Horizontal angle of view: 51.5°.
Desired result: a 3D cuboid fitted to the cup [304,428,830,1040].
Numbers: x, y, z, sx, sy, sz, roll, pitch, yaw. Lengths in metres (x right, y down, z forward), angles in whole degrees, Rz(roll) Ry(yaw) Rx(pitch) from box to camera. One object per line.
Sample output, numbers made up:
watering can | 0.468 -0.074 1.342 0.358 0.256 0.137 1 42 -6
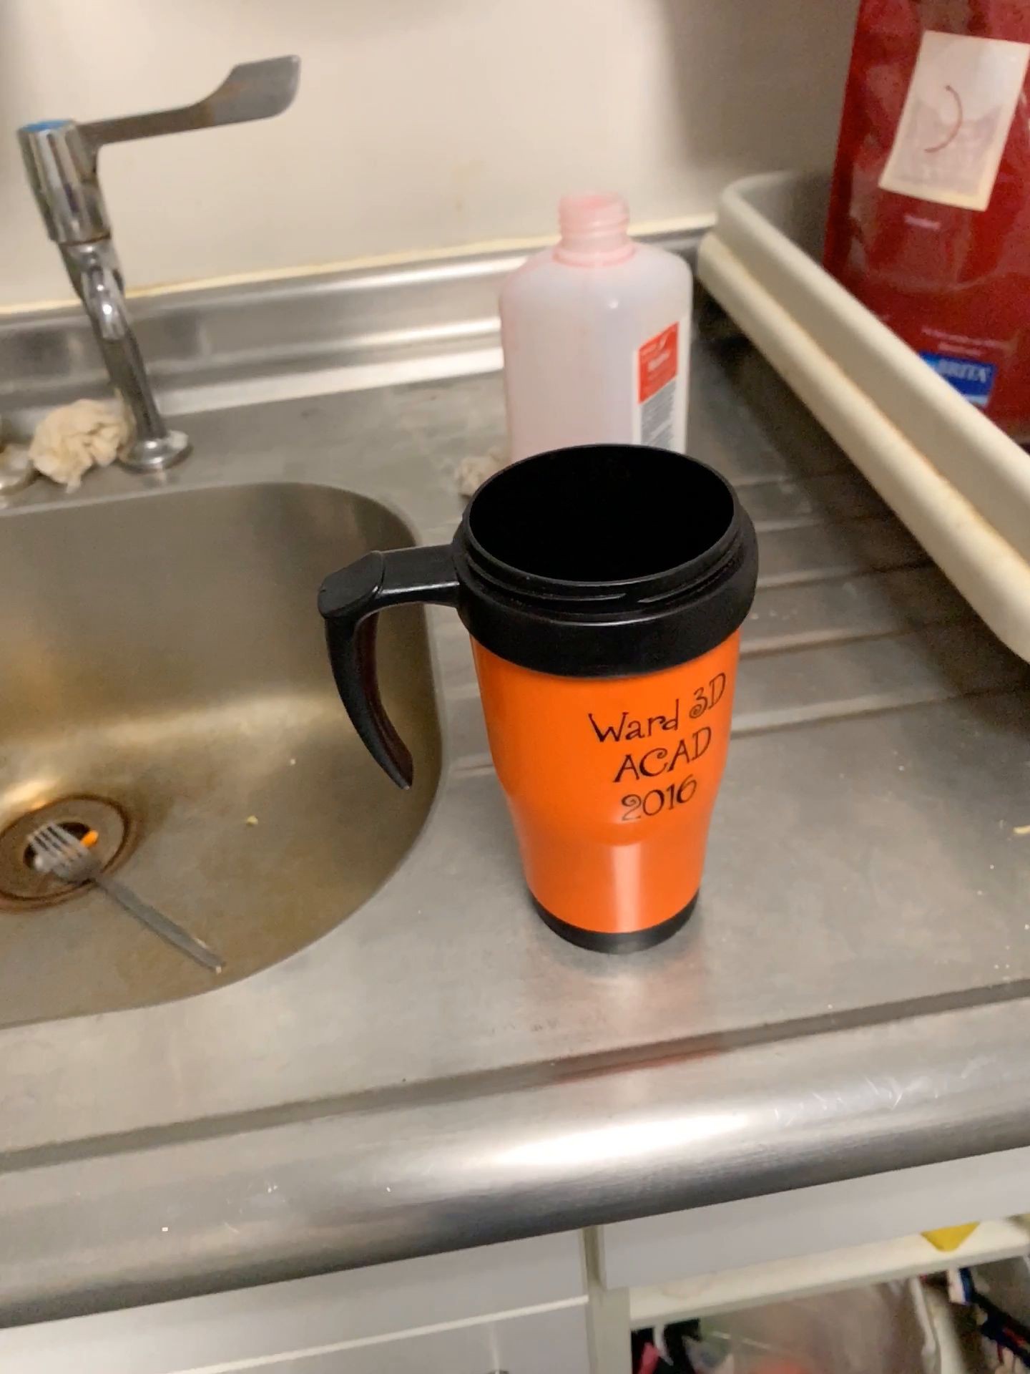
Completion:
cup | 0.014 0.018 0.356 0.134 0.164 0.090 -10 39 -5
